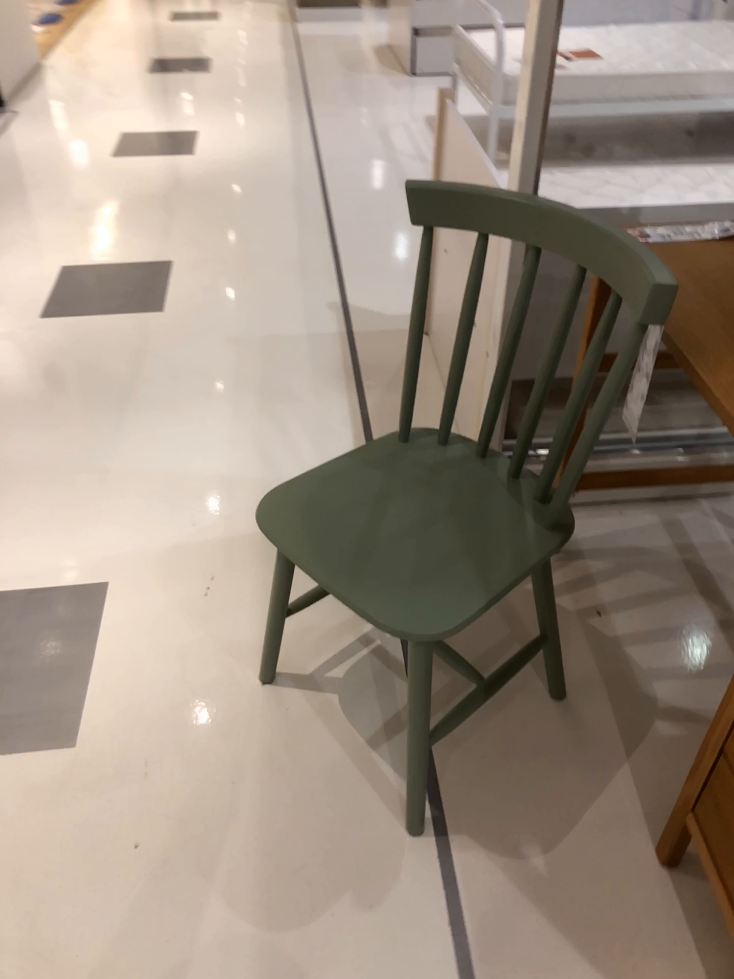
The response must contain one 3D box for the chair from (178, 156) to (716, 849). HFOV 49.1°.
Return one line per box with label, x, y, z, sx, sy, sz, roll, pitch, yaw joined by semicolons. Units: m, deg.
chair;0.095;0.025;1.225;0.462;0.834;0.452;-30;48;-32
